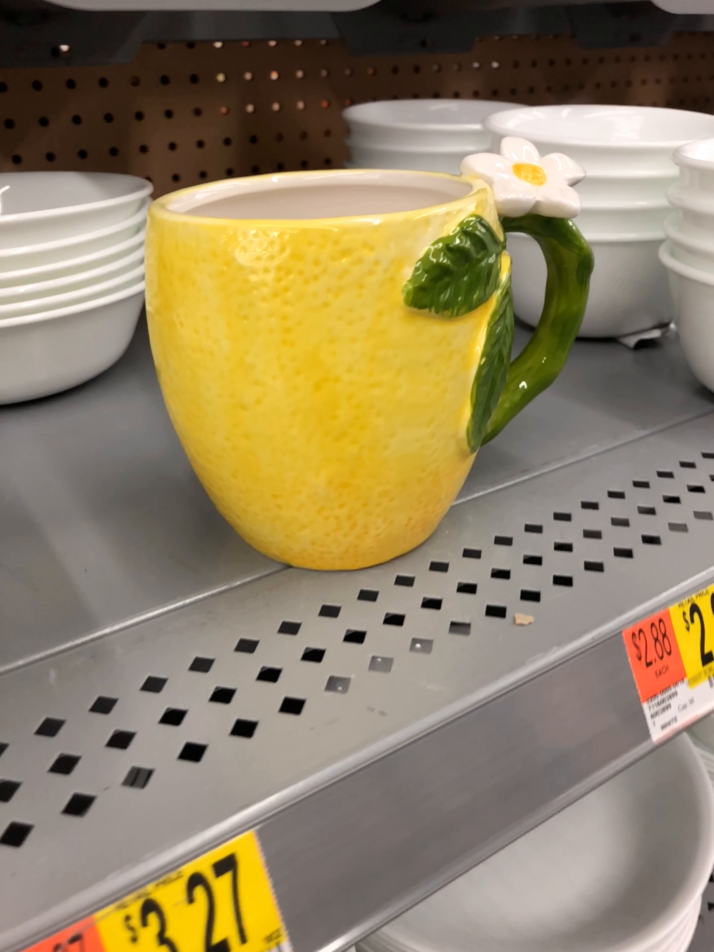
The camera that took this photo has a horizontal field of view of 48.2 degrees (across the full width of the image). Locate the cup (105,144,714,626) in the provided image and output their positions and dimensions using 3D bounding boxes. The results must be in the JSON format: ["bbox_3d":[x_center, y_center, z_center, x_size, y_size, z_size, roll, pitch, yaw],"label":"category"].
[{"bbox_3d":[0.013,-0.042,0.245,0.139,0.094,0.101,-16,31,-25],"label":"cup"}]
